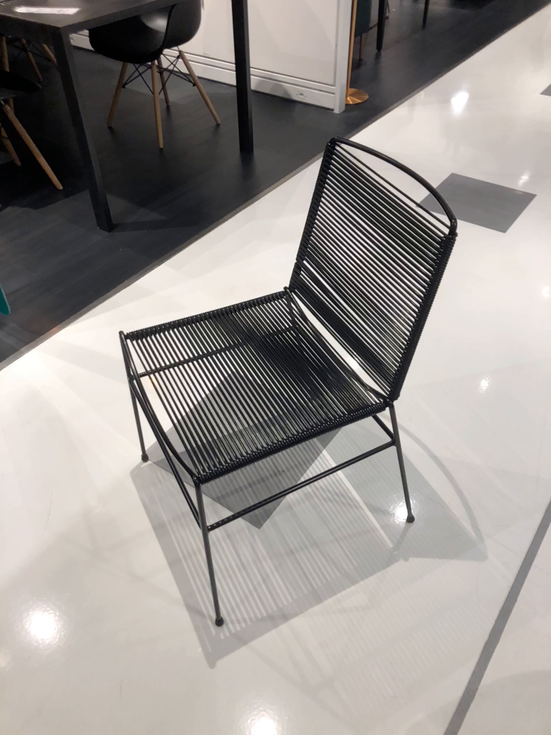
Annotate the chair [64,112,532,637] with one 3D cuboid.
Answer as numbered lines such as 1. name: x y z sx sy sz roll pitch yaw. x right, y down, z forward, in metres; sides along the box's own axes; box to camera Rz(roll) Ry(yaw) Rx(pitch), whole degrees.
1. chair: 0.013 0.014 1.249 0.581 0.794 0.523 -20 46 -19
